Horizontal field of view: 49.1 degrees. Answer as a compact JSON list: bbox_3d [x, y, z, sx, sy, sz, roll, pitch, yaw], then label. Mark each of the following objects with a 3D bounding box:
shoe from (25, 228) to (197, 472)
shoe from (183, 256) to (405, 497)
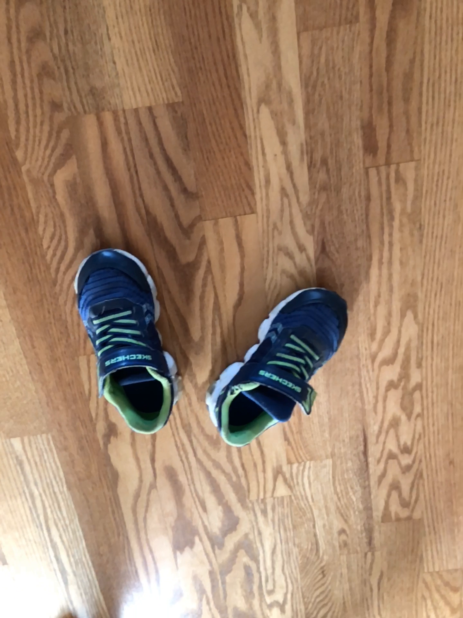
[{"bbox_3d":[-0.105,0.039,0.497,0.093,0.095,0.203,-12,112,3],"label":"shoe"},{"bbox_3d":[0.053,0.069,0.510,0.093,0.087,0.212,34,107,-14],"label":"shoe"}]
